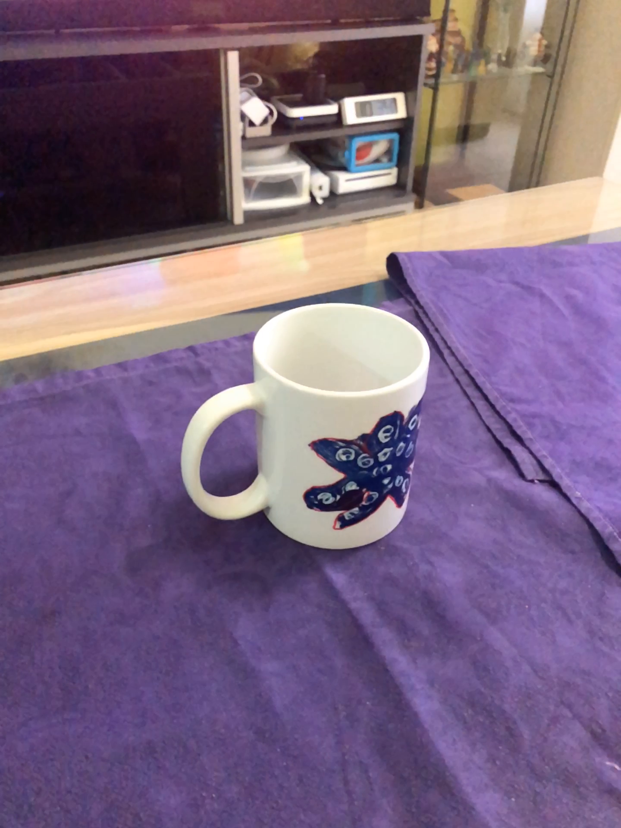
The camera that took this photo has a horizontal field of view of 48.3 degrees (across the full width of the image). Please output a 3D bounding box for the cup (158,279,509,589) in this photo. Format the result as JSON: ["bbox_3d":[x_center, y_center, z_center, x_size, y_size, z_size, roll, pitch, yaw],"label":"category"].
[{"bbox_3d":[0.007,0.004,0.324,0.130,0.090,0.080,-12,39,-18],"label":"cup"}]
